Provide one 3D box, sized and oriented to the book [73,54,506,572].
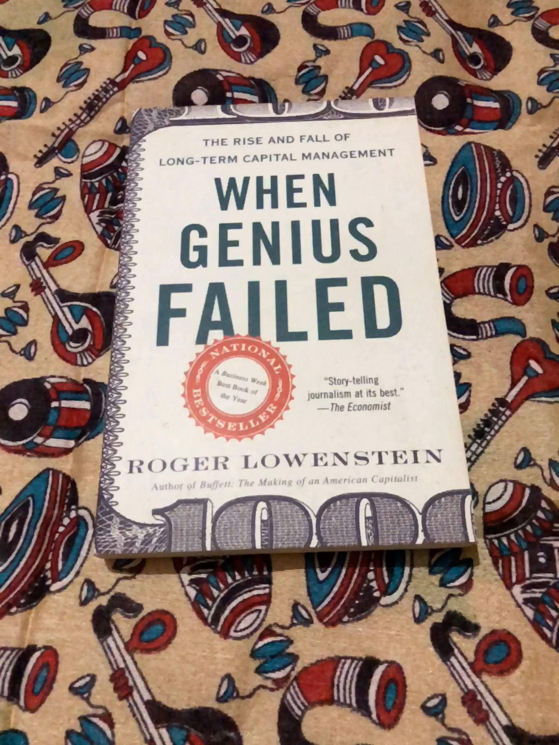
[{"bbox_3d":[0.001,-0.036,0.256,0.140,0.030,0.220,-1,68,0],"label":"book"}]
